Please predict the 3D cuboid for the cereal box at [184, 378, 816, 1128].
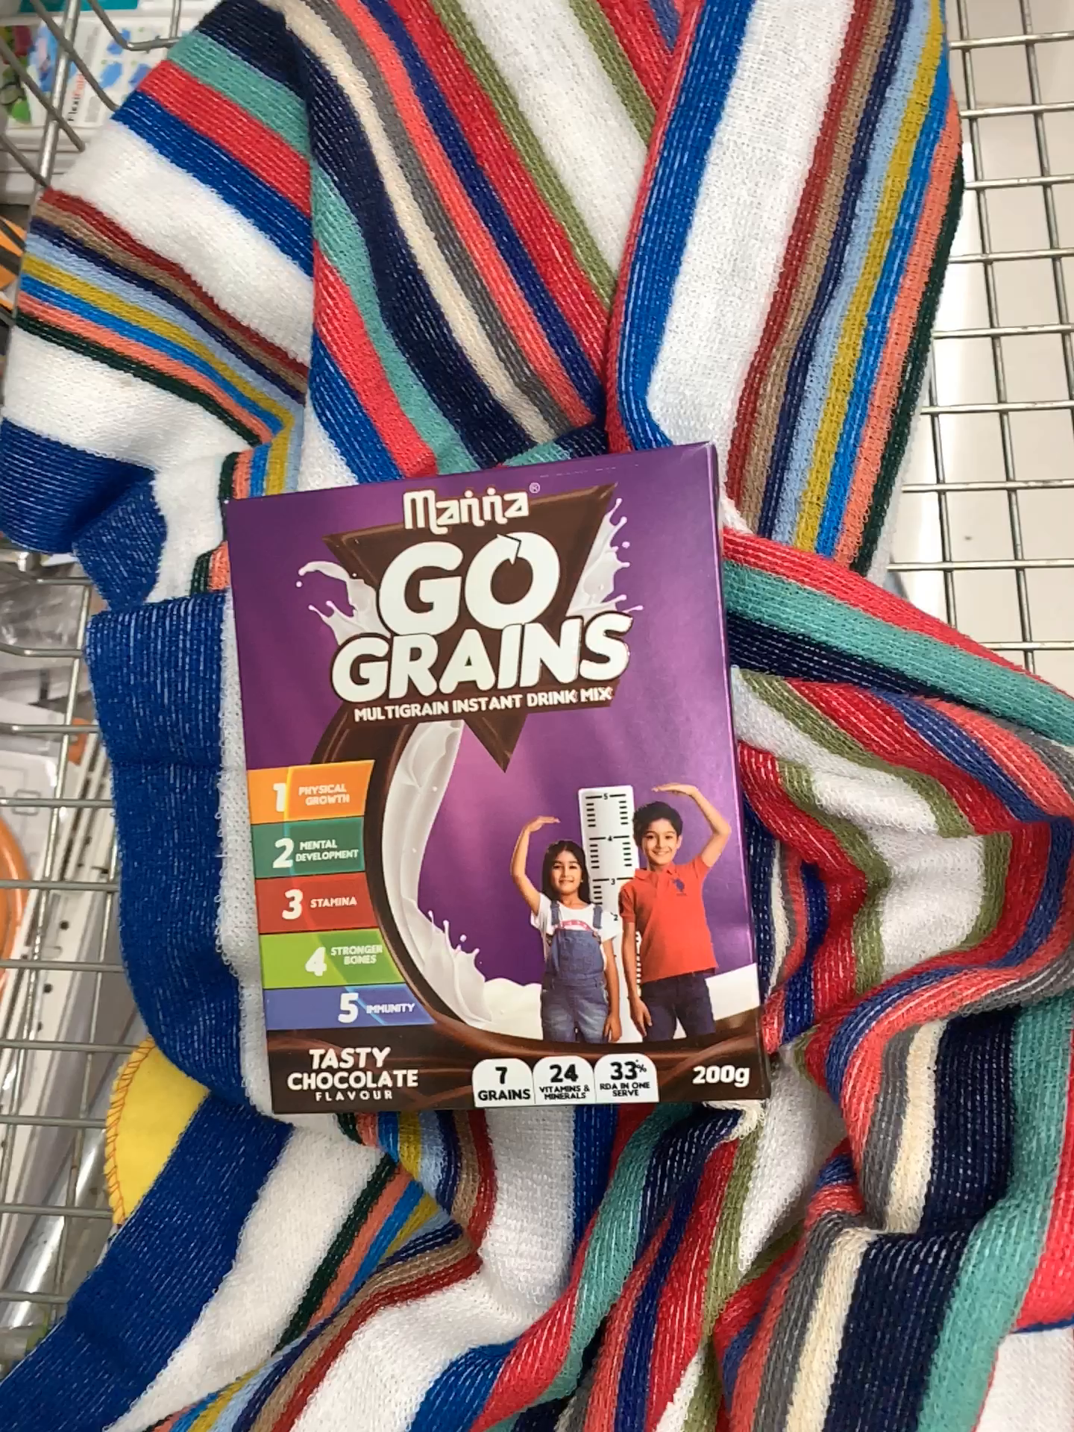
[{"bbox_3d":[-0.008,0.012,0.288,0.140,0.050,0.170,-4,91,7],"label":"cereal box"}]
